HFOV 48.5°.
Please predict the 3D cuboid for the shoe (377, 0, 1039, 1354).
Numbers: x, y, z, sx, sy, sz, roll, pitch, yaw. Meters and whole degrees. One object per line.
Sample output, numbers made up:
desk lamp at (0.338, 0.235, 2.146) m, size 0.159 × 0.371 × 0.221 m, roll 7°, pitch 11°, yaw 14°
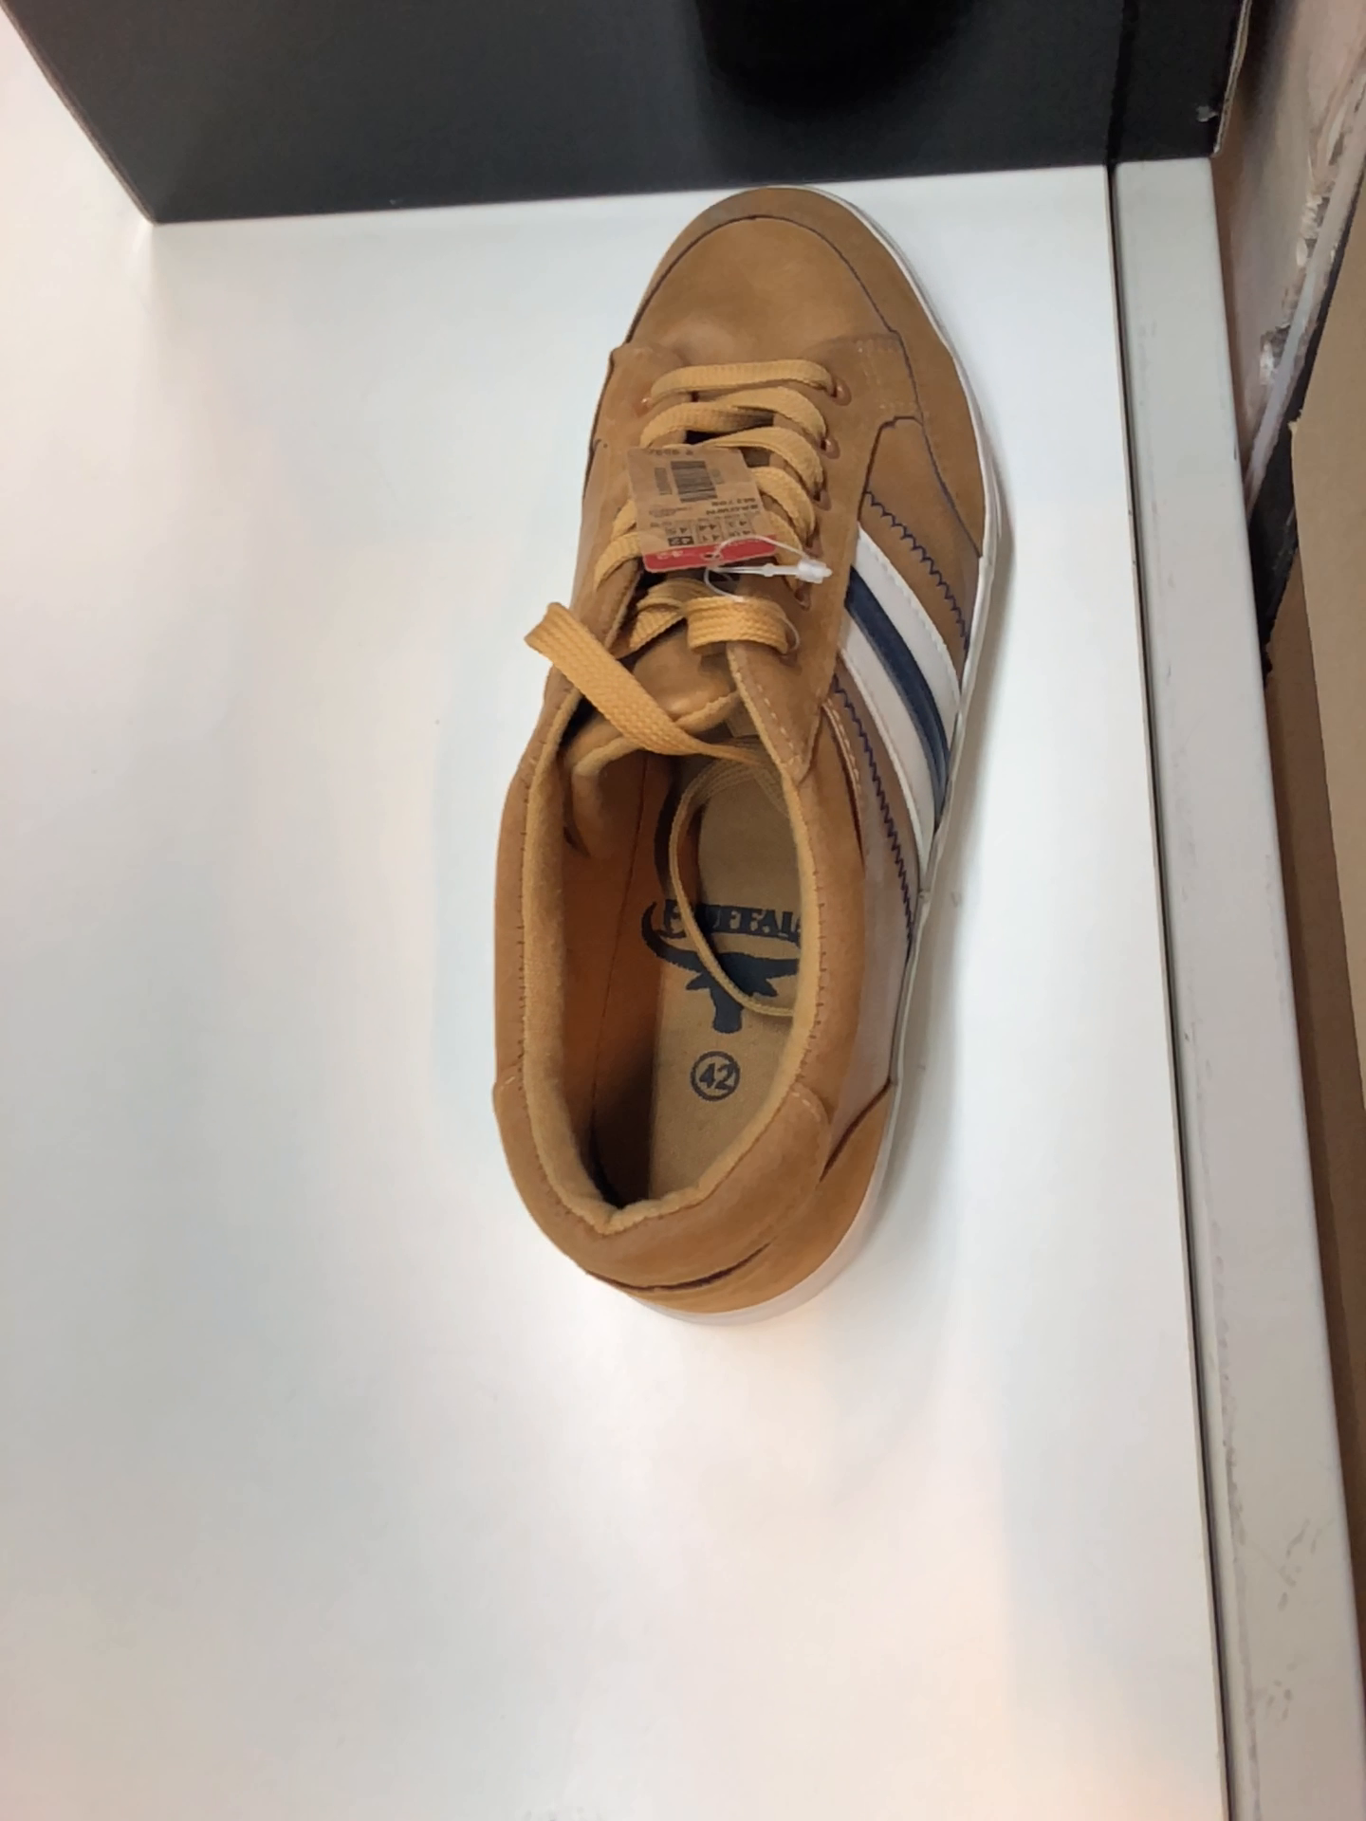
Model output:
shoe at (0.021, -0.061, 0.334) m, size 0.104 × 0.104 × 0.295 m, roll 1°, pitch 72°, yaw 11°
